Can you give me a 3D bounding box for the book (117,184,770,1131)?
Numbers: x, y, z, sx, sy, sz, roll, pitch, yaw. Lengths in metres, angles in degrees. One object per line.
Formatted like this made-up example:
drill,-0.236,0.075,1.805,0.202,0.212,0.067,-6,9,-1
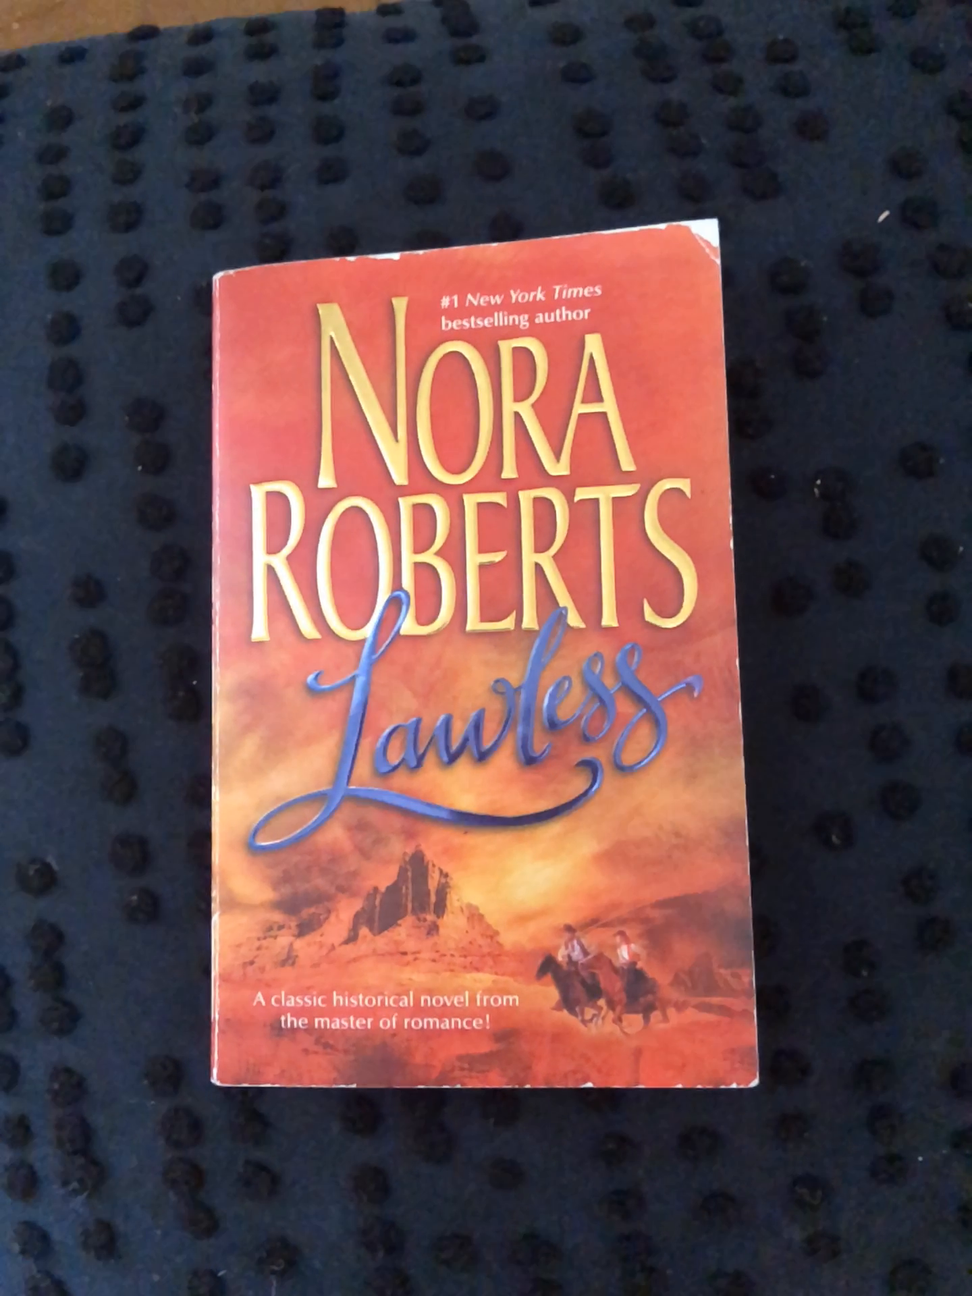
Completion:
book,-0.011,0.000,0.229,0.120,0.040,0.180,-2,83,1
